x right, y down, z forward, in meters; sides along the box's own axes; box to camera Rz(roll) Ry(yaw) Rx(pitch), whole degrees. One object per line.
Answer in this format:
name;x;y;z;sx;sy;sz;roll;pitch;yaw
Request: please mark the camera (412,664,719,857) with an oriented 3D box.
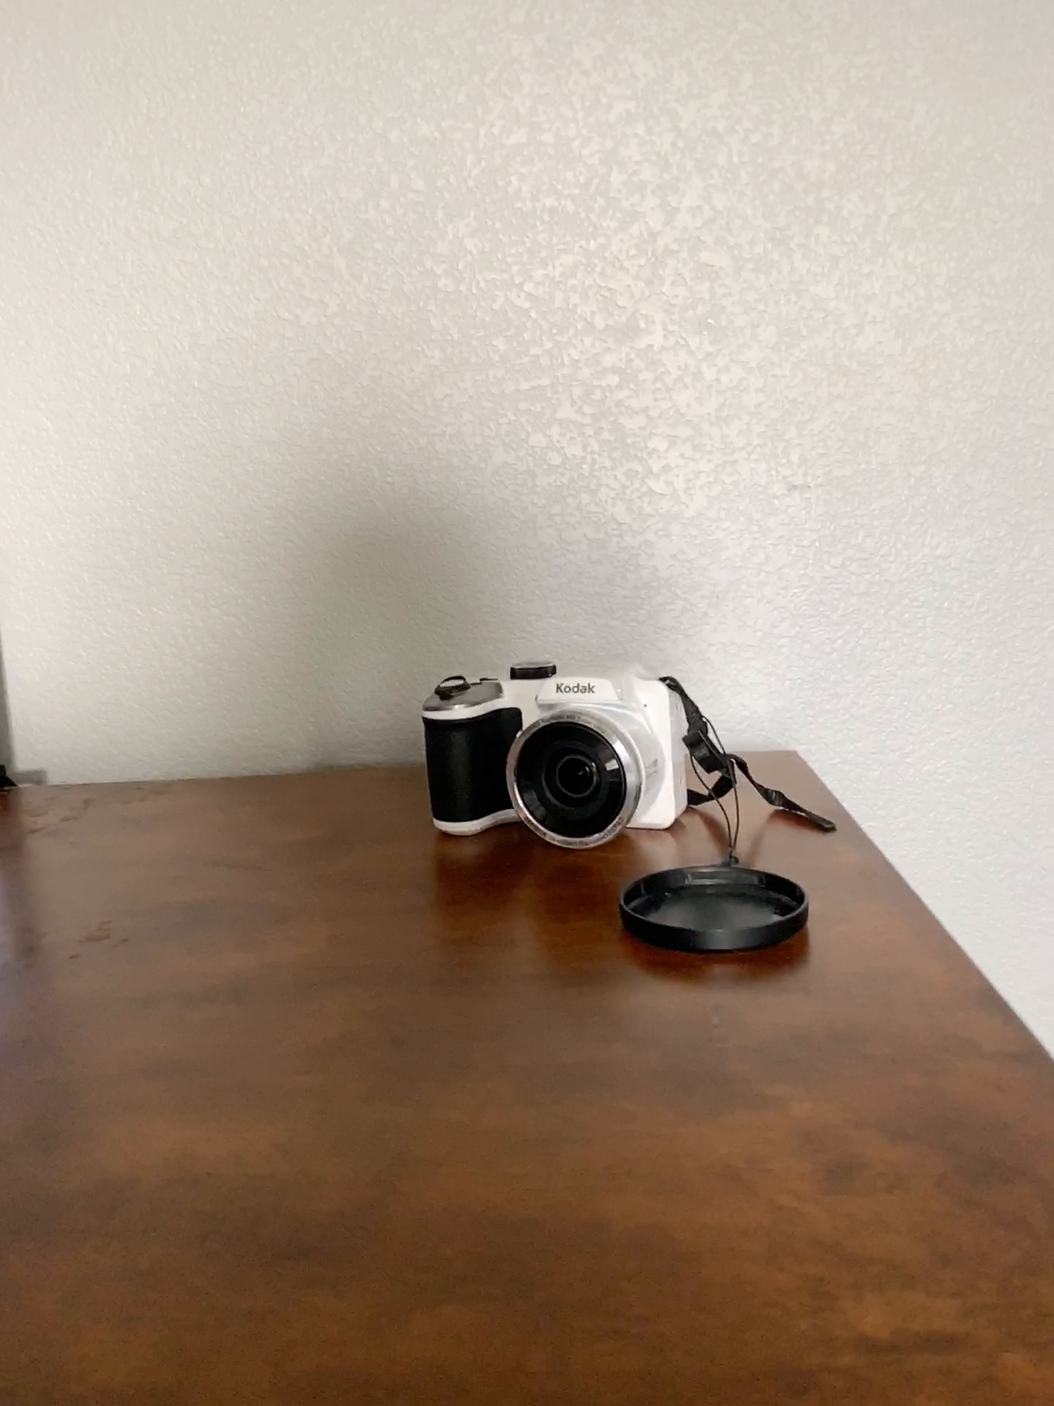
camera;0.018;0.022;0.501;0.119;0.071;0.070;1;9;31
